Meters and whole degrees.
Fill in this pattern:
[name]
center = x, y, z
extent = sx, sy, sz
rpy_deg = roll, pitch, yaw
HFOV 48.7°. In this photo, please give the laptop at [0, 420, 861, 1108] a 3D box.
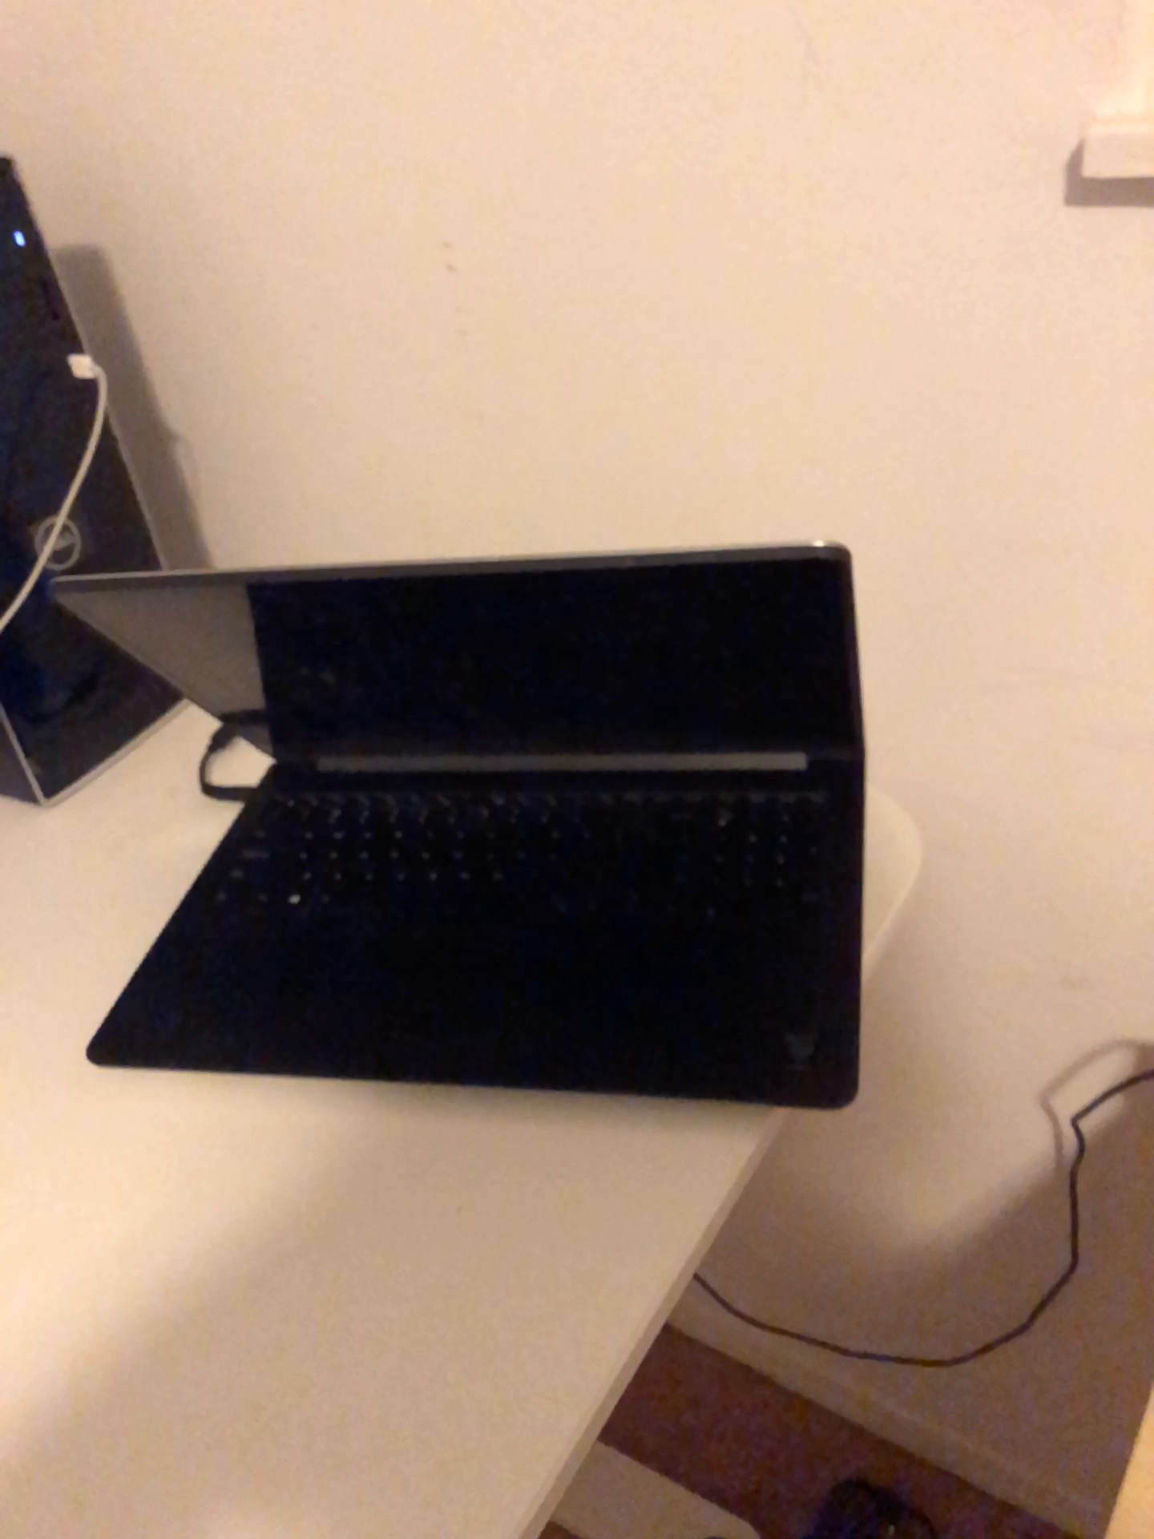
[laptop]
center = -0.054, -0.013, 0.635
extent = 0.373, 0.207, 0.252
rpy_deg = 0, 36, 15
